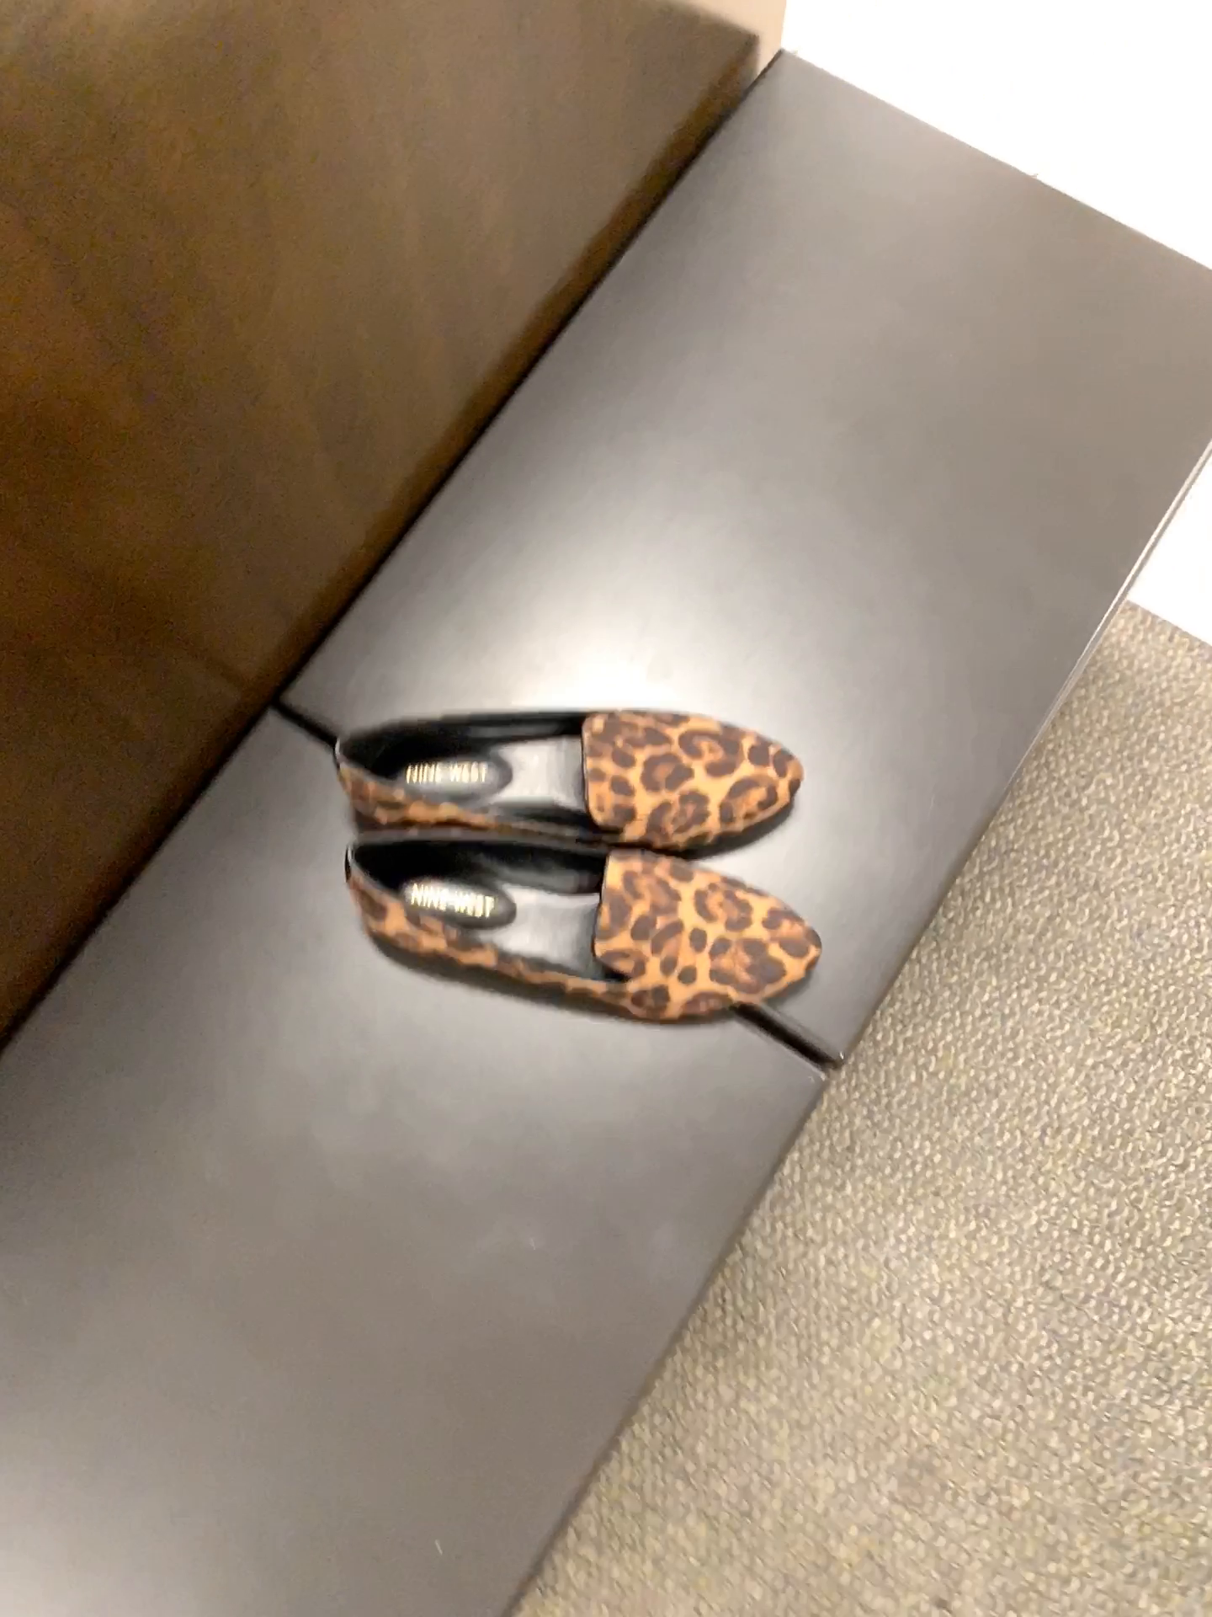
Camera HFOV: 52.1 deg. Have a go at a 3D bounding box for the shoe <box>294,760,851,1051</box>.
[{"bbox_3d":[-0.014,0.051,0.621,0.247,0.090,0.090,9,75,3],"label":"shoe"}]

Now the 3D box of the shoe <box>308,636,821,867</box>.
[{"bbox_3d":[-0.021,-0.027,0.653,0.247,0.090,0.090,-2,74,0],"label":"shoe"}]
